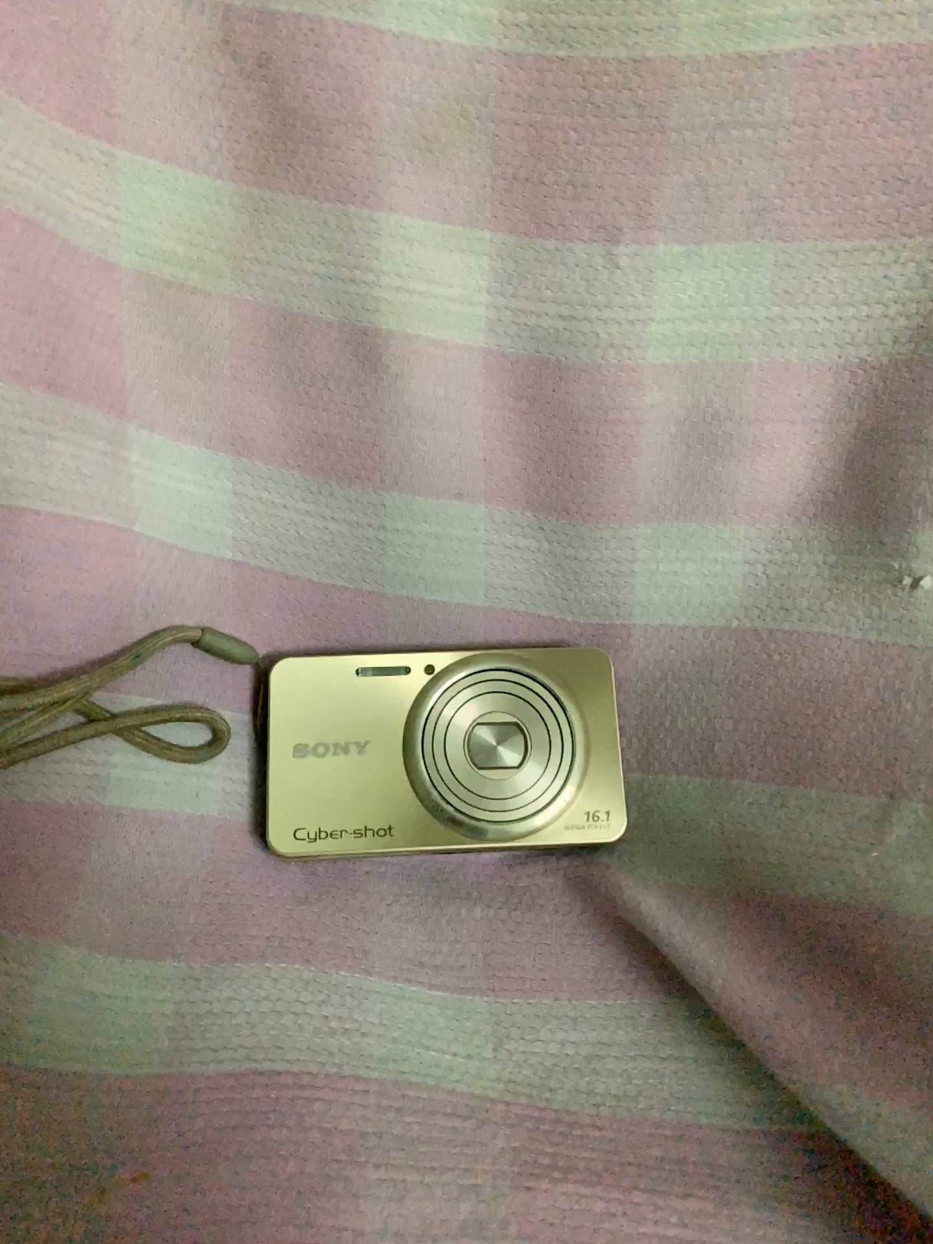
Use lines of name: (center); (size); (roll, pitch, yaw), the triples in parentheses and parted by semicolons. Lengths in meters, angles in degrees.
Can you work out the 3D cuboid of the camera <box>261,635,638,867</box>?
camera: (-0.006, 0.034, 0.254); (0.091, 0.027, 0.053); (-2, 74, -3)
